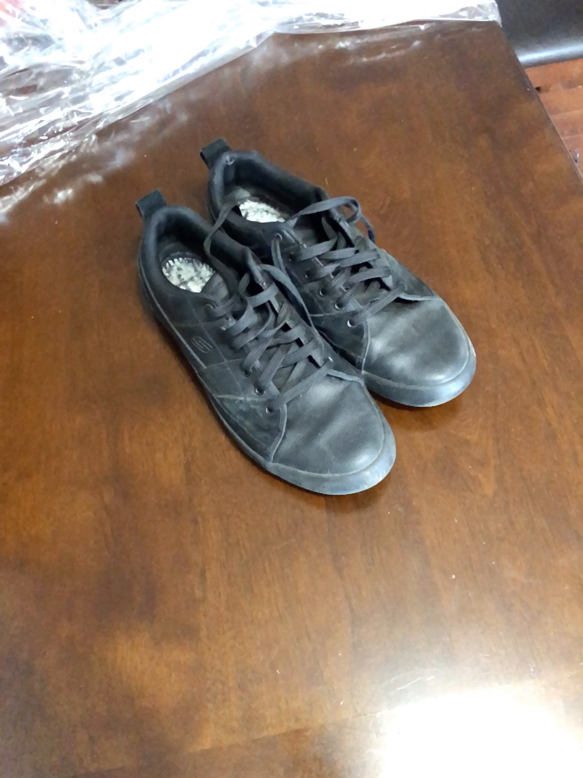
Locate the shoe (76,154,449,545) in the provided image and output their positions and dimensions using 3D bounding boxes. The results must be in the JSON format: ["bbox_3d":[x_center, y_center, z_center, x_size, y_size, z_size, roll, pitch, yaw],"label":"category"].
[{"bbox_3d":[-0.031,-0.039,0.517,0.110,0.110,0.300,-37,66,-15],"label":"shoe"}]

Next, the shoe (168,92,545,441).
[{"bbox_3d":[0.042,-0.111,0.553,0.110,0.110,0.300,-41,67,-17],"label":"shoe"}]
